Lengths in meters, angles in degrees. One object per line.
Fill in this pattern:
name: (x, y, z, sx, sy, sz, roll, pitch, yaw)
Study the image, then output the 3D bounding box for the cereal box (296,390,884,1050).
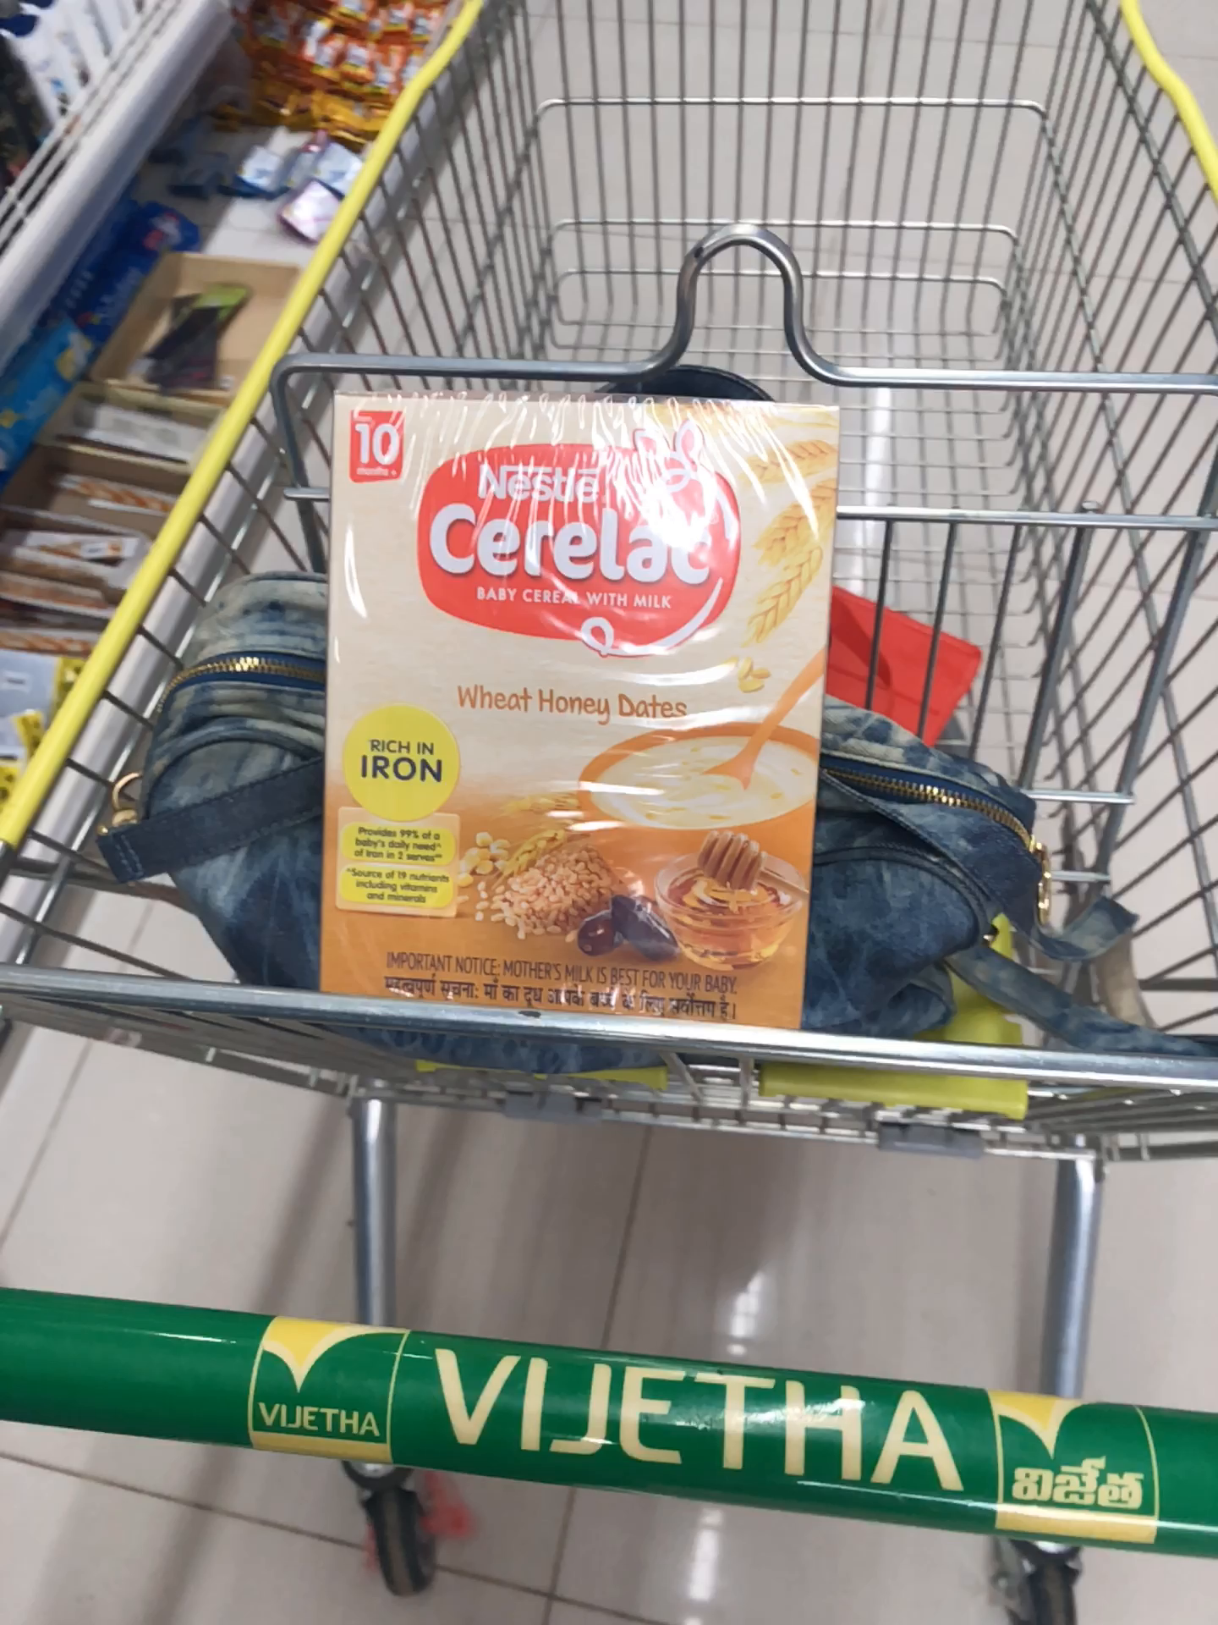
cereal box: (-0.006, -0.031, 0.436, 0.170, 0.060, 0.190, 3, 96, 6)
